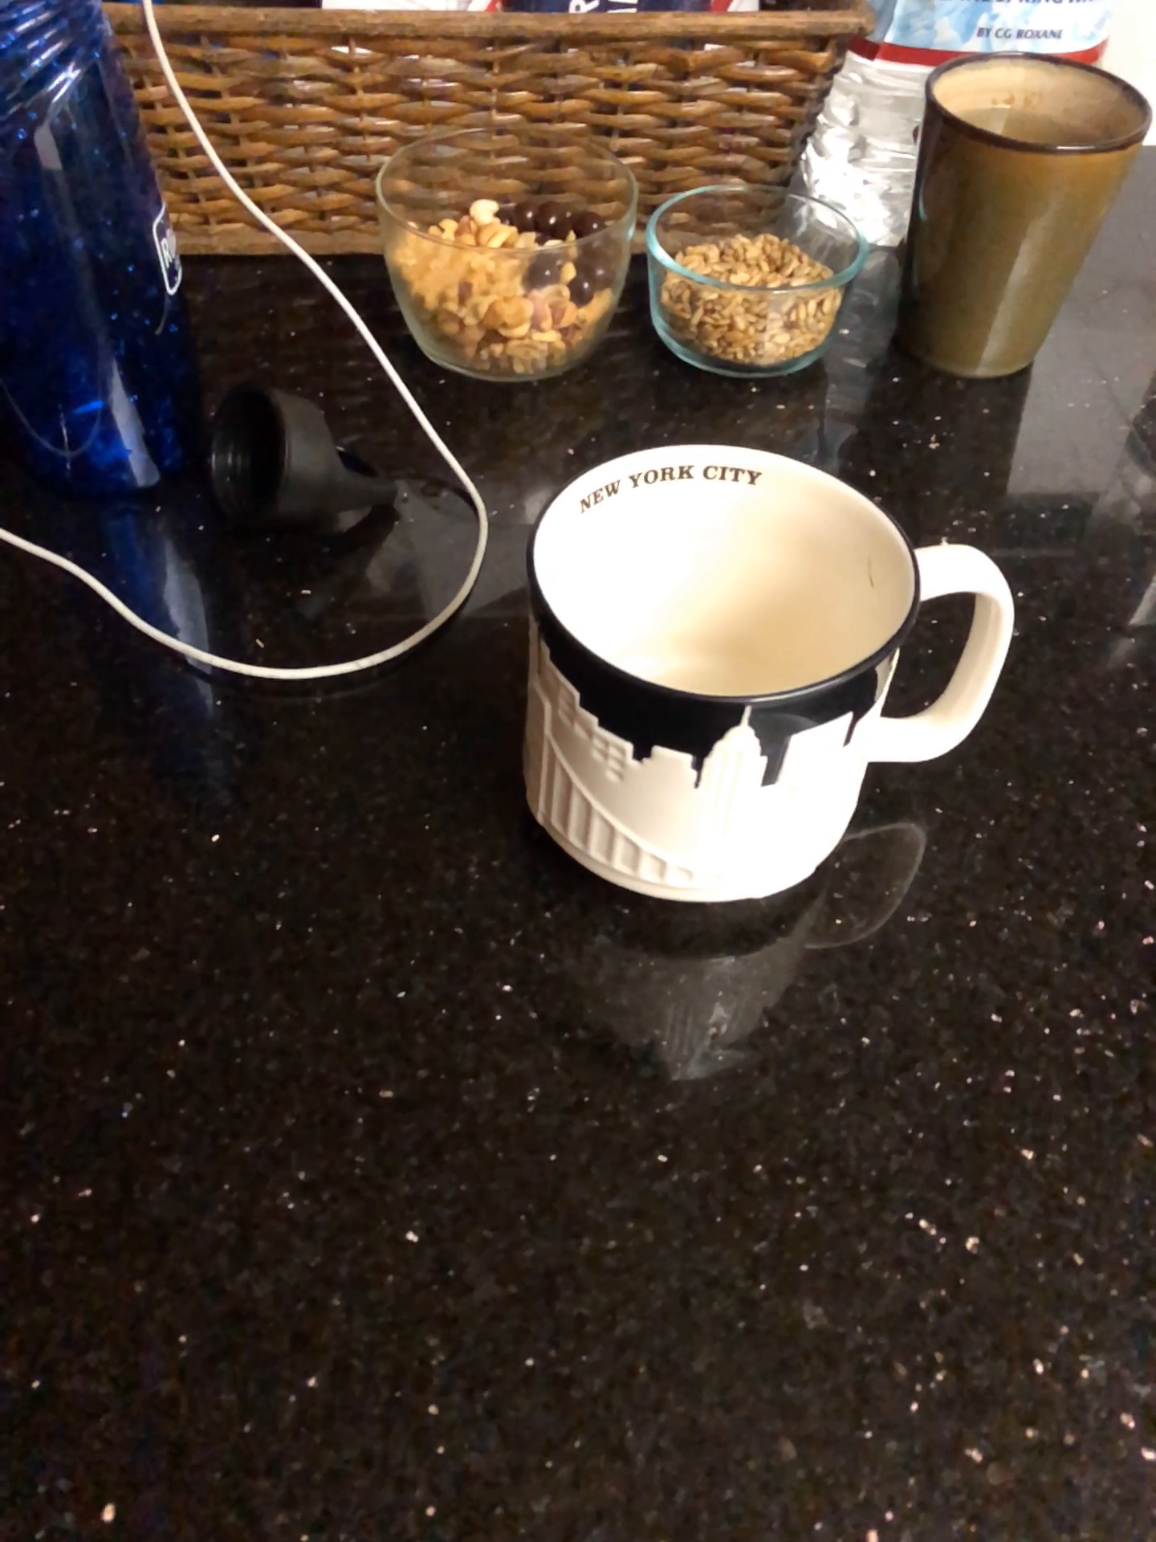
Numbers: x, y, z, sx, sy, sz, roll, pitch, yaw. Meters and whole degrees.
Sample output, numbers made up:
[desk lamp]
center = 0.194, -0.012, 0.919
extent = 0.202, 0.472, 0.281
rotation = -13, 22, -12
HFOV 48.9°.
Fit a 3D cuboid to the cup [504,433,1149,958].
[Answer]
[cup]
center = 0.056, -0.025, 0.374
extent = 0.150, 0.090, 0.121
rotation = -2, 49, -5
